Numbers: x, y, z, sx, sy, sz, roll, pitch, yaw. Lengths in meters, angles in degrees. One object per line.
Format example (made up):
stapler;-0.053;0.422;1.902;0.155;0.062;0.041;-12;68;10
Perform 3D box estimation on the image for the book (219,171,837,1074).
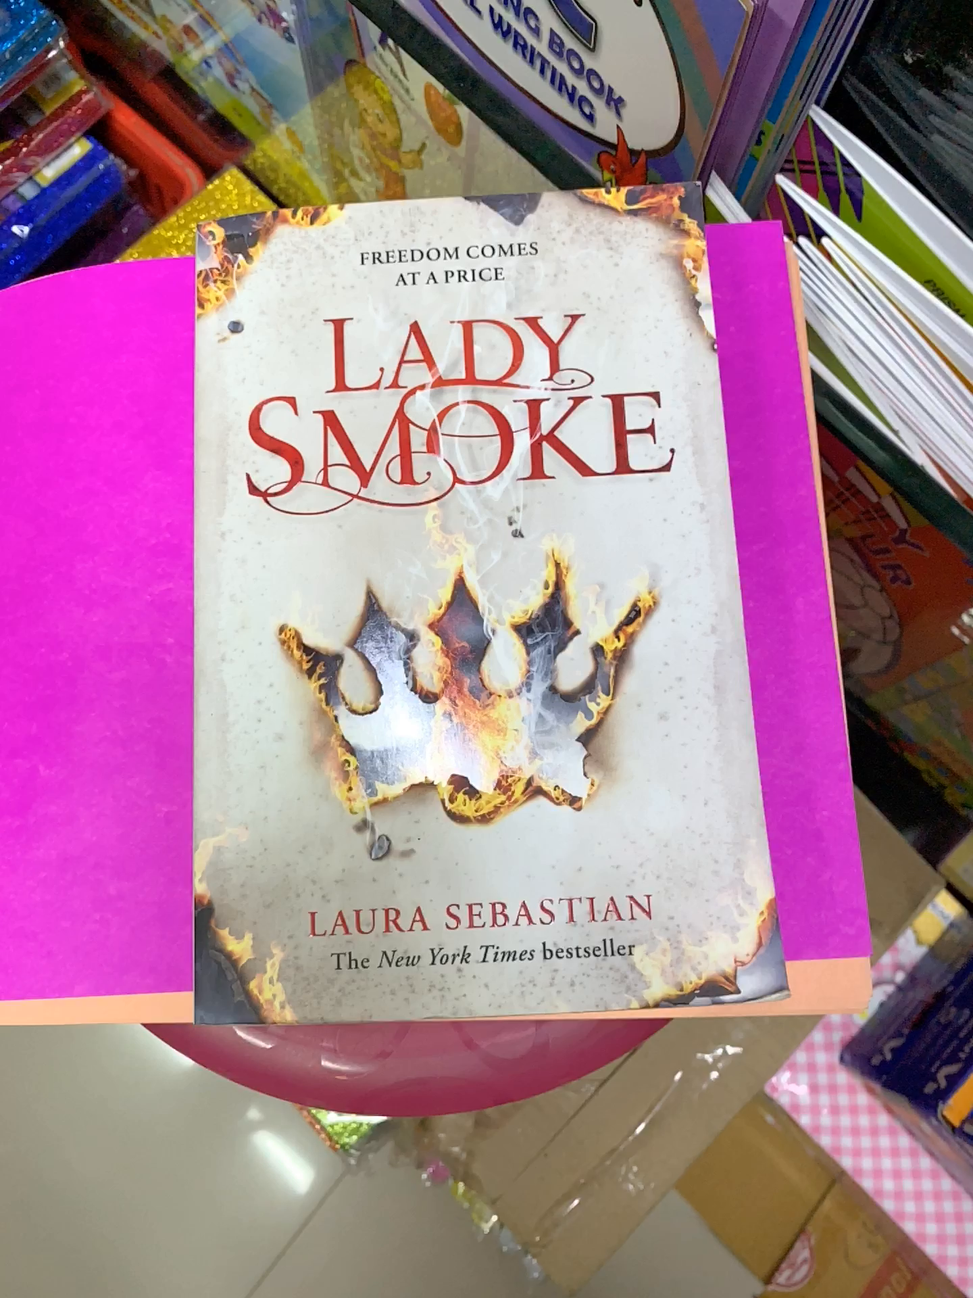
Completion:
book;0.006;-0.009;0.252;0.130;0.050;0.200;-2;83;0
